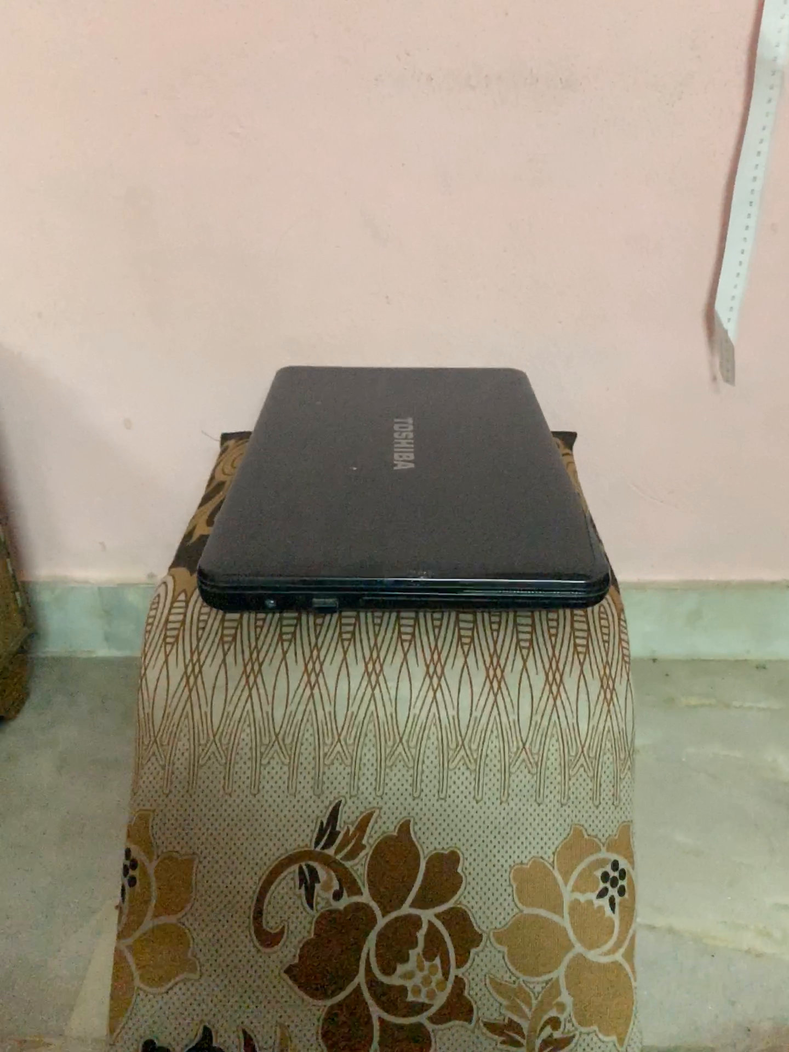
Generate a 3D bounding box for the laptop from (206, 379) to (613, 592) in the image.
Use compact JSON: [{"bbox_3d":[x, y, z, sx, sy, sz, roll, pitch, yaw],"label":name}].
[{"bbox_3d":[0.005,-0.052,0.607,0.222,0.001,0.372,0,28,0],"label":"laptop"}]
